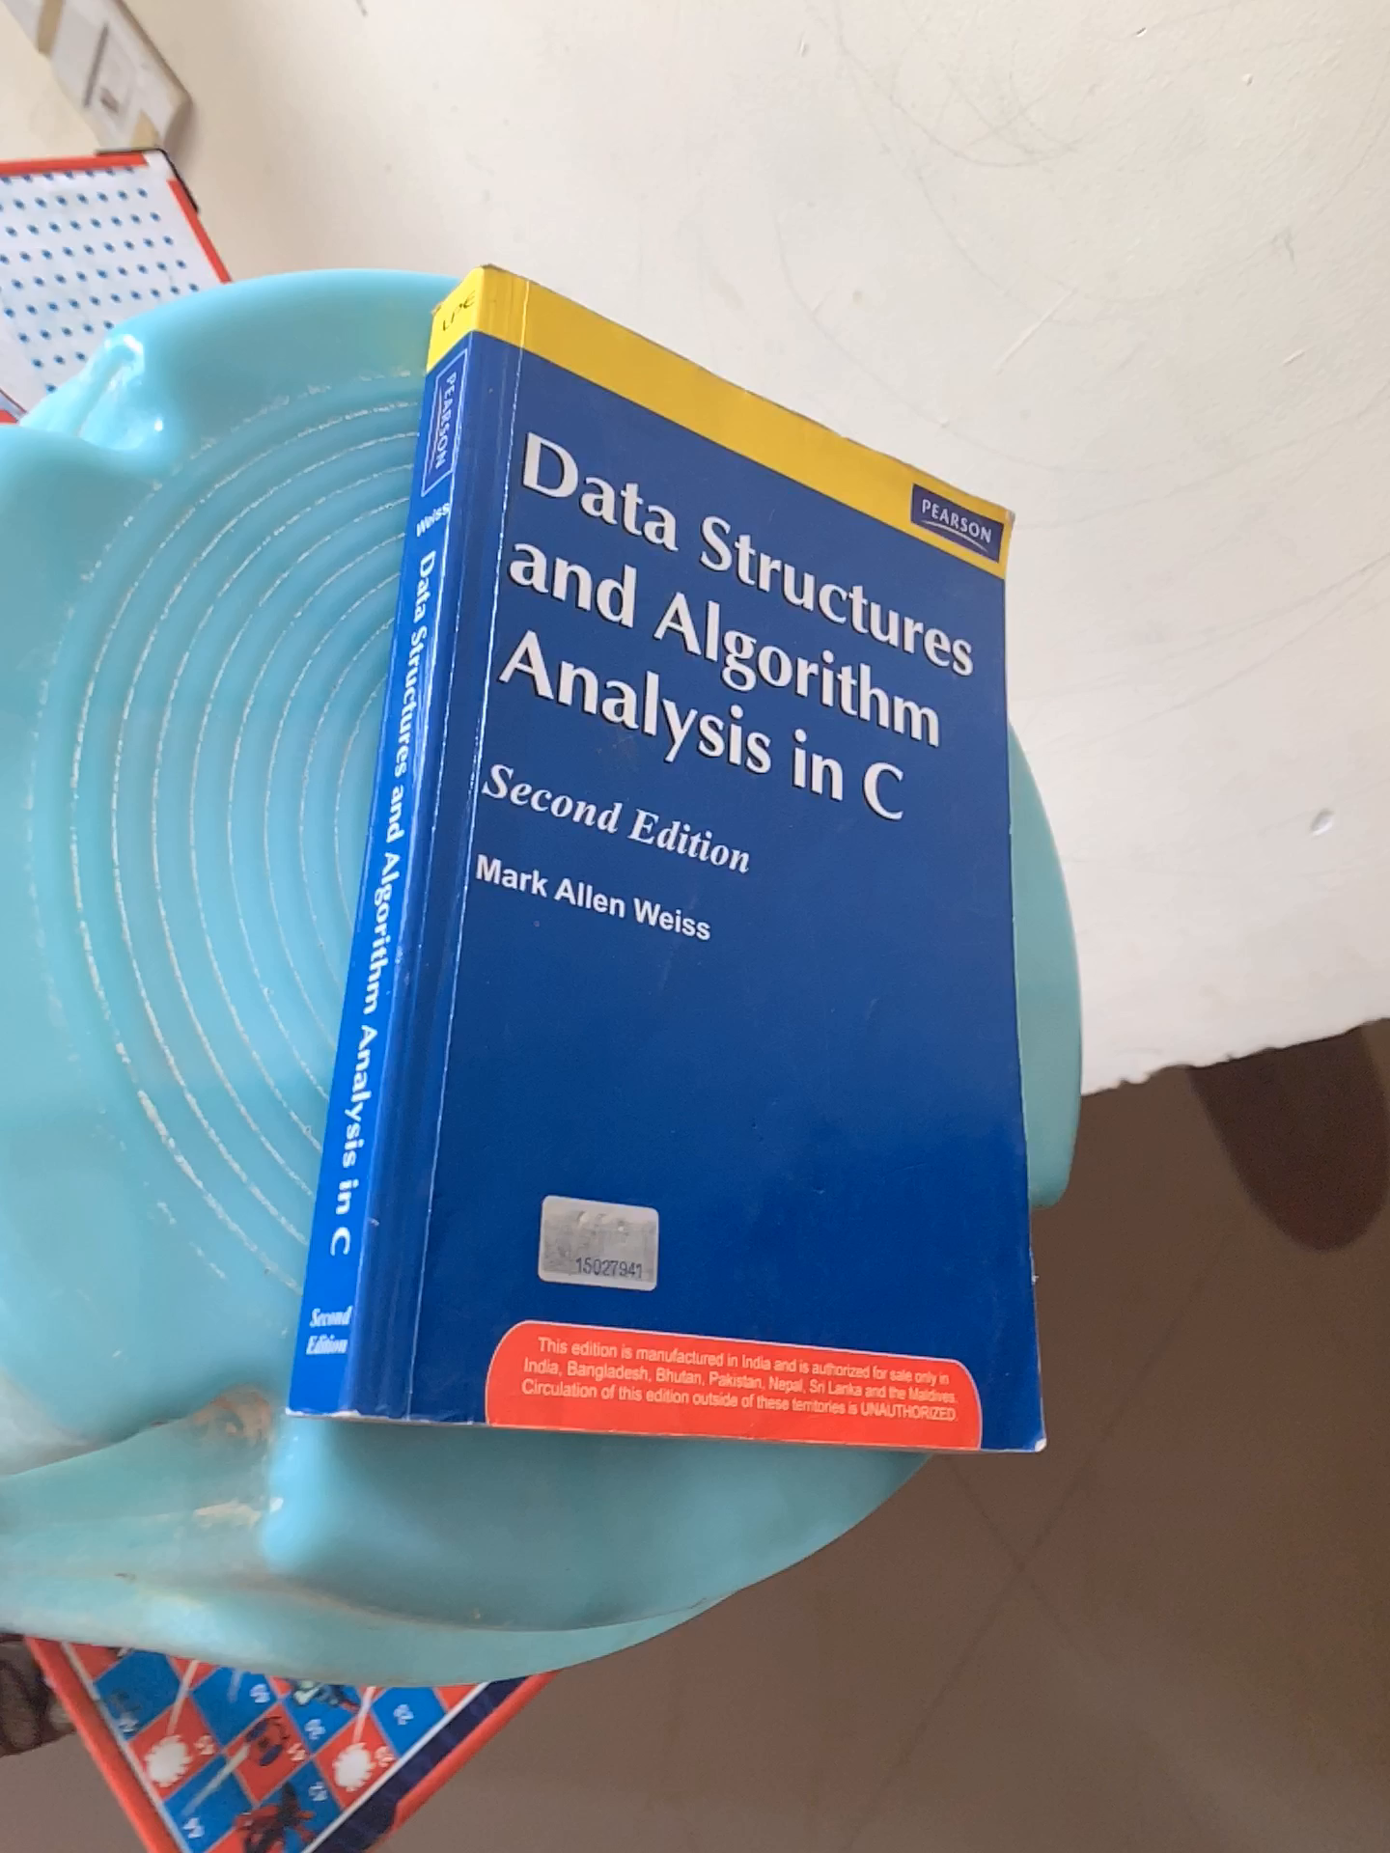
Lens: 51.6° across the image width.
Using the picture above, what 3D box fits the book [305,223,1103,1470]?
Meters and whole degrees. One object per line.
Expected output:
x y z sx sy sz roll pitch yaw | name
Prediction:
0.014 -0.013 0.311 0.161 0.030 0.241 14 67 -30 | book
